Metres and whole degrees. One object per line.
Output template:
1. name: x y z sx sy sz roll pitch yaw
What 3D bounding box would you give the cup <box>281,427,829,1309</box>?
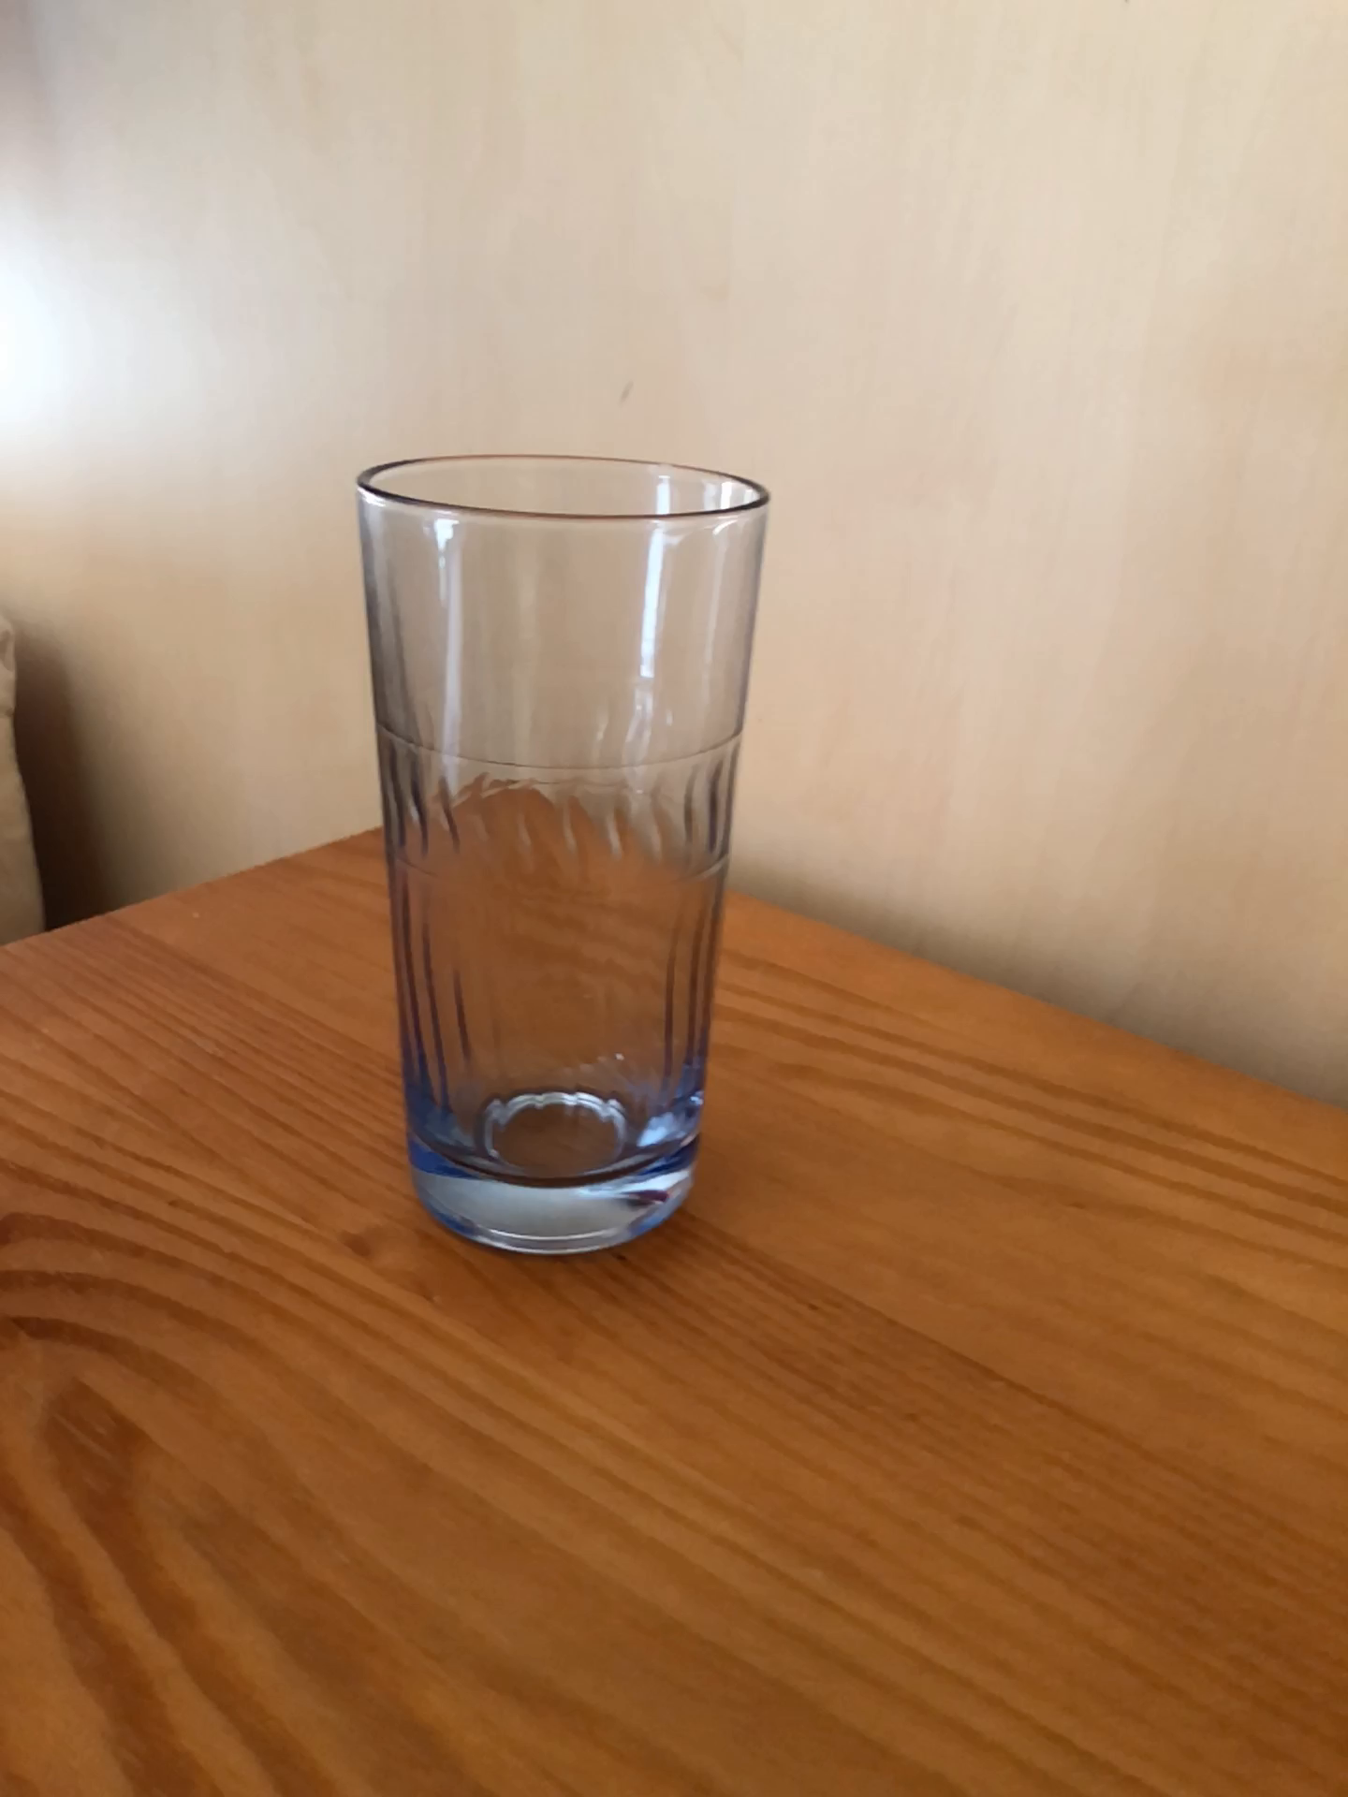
1. cup: -0.018 -0.010 0.265 0.070 0.129 0.076 3 23 -1
